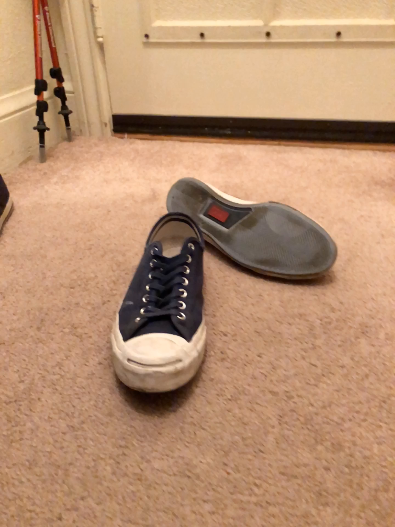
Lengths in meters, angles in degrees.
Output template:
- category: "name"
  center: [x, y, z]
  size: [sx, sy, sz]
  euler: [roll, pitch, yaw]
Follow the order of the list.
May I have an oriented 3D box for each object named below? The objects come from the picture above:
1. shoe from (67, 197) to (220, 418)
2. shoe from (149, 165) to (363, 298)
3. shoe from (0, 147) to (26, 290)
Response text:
- category: "shoe"
  center: [-0.039, 0.027, 0.516]
  size: [0.116, 0.098, 0.288]
  euler: [1, 33, 5]
- category: "shoe"
  center: [0.076, -0.057, 0.663]
  size: [0.297, 0.104, 0.099]
  euler: [25, 13, 34]
- category: "shoe"
  center: [-0.355, -0.088, 0.680]
  size: [0.106, 0.098, 0.298]
  euler: [-6, 31, -9]
